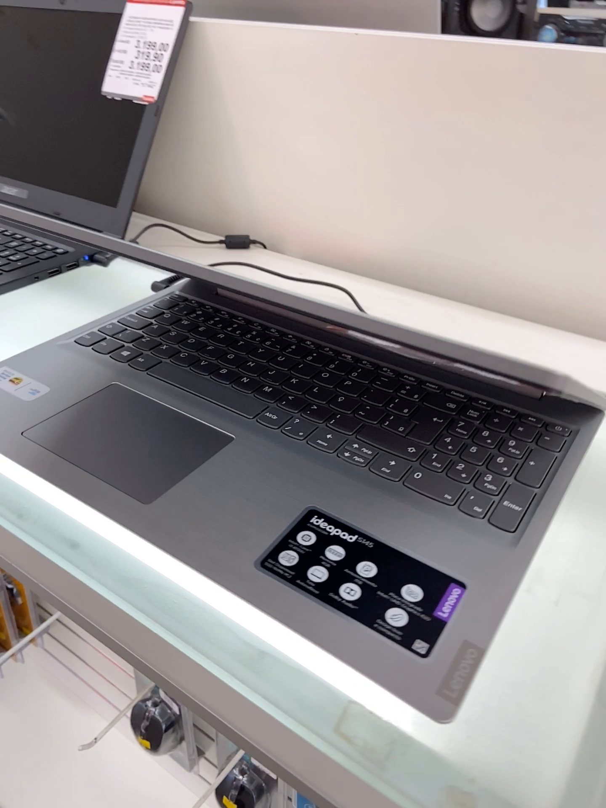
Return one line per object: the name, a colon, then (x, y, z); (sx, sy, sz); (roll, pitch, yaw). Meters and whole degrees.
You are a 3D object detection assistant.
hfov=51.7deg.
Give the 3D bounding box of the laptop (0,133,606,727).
laptop: (-0.026, -0.049, 0.352); (0.354, 0.121, 0.240); (21, 38, 28)
